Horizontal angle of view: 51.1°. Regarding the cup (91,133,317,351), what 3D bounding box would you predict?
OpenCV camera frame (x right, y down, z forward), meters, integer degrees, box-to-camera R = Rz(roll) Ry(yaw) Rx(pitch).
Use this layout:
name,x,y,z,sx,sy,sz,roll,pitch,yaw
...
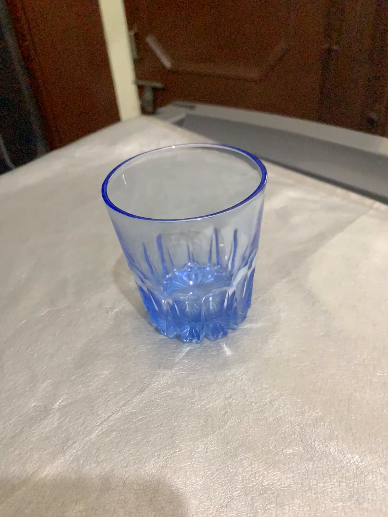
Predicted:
name,x,y,z,sx,sy,sz,roll,pitch,yaw
cup,0.003,-0.013,0.218,0.090,0.070,0.090,-4,37,3
